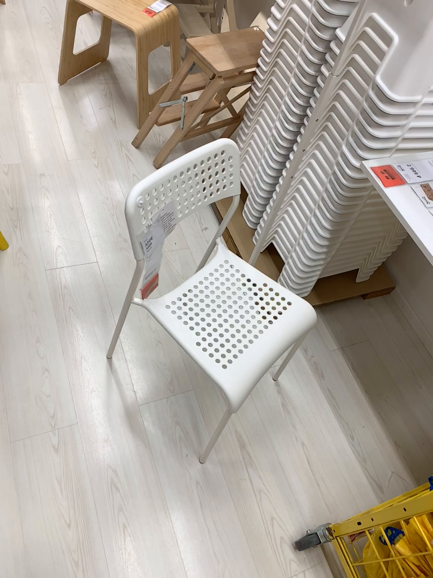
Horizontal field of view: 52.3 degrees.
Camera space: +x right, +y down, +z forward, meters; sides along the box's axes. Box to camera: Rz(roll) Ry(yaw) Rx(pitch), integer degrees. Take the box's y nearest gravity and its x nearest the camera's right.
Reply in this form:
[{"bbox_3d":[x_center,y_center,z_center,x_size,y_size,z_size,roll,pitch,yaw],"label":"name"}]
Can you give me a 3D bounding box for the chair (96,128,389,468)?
[{"bbox_3d":[-0.006,0.068,1.250,0.500,0.747,0.425,41,55,15],"label":"chair"}]
